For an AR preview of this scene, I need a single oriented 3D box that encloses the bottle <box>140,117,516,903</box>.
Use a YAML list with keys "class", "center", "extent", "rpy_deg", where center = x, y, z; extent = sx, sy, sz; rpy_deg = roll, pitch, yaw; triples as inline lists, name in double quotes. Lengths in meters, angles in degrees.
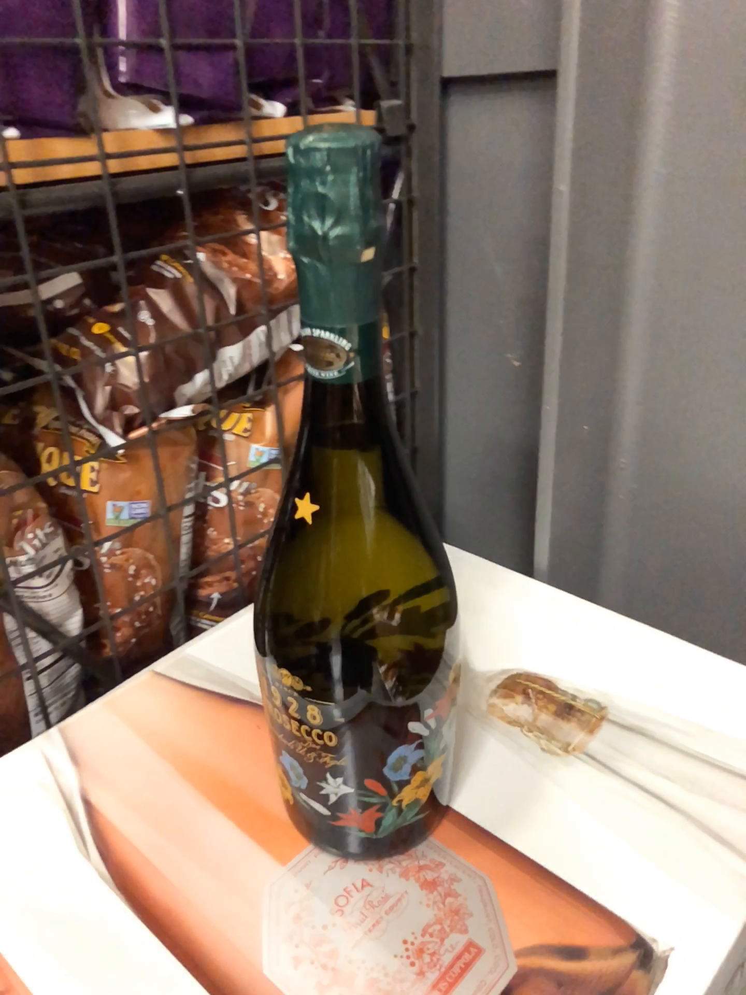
- class: "bottle"
  center: [-0.008, 0.009, 0.342]
  extent: [0.090, 0.299, 0.090]
  rpy_deg: [-2, 25, 1]
